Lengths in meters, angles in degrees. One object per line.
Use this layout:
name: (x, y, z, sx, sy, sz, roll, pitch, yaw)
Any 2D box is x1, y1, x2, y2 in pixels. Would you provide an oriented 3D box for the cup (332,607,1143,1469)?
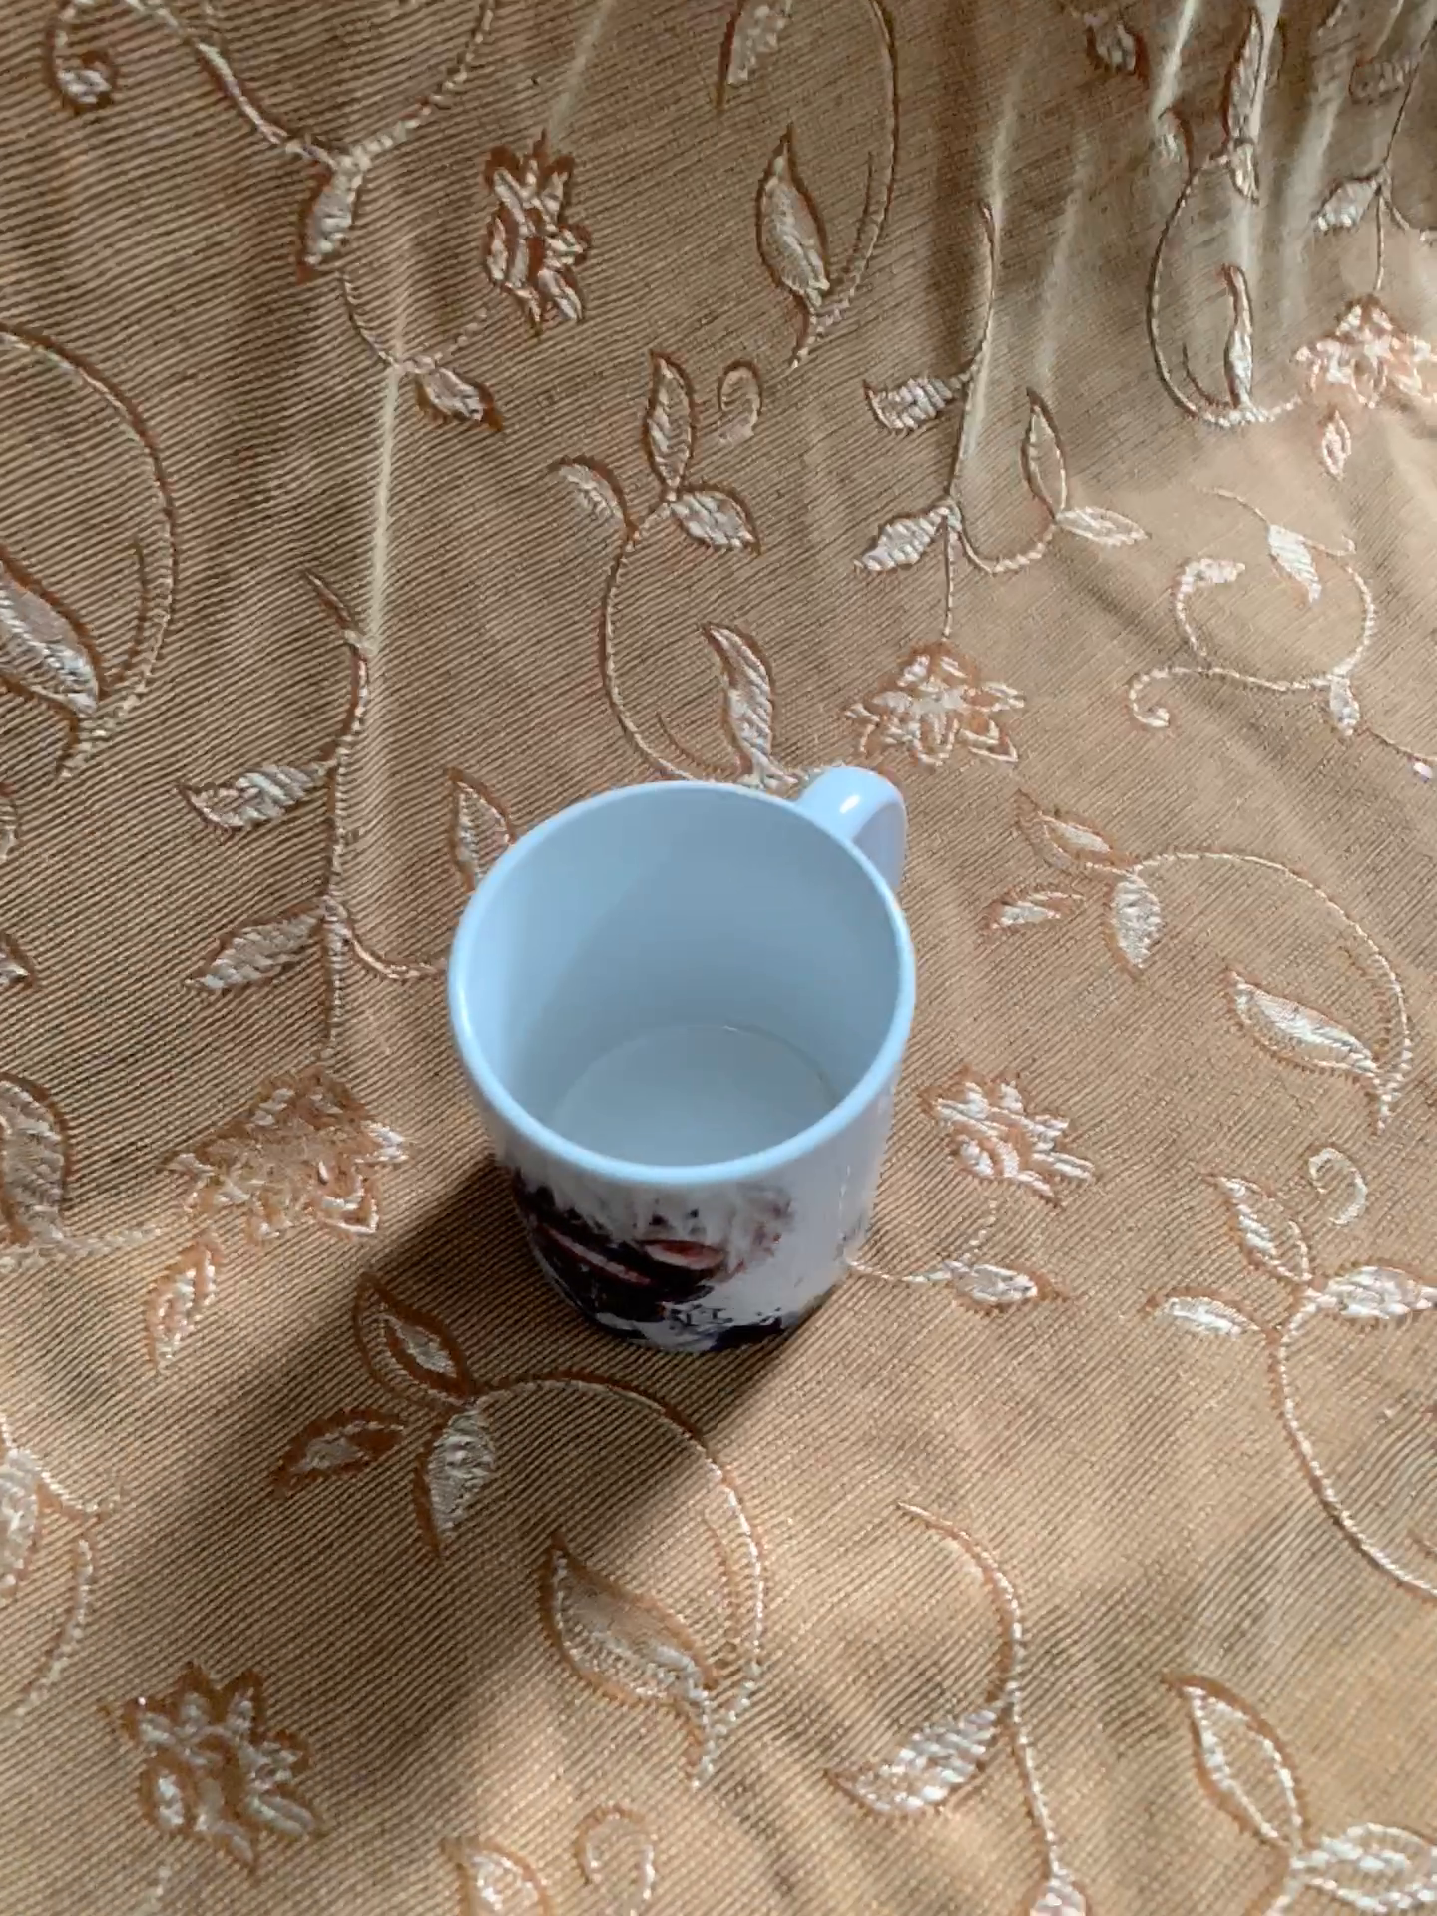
cup: (0.006, 0.018, 0.298, 0.080, 0.102, 0.121, 38, 66, 21)
